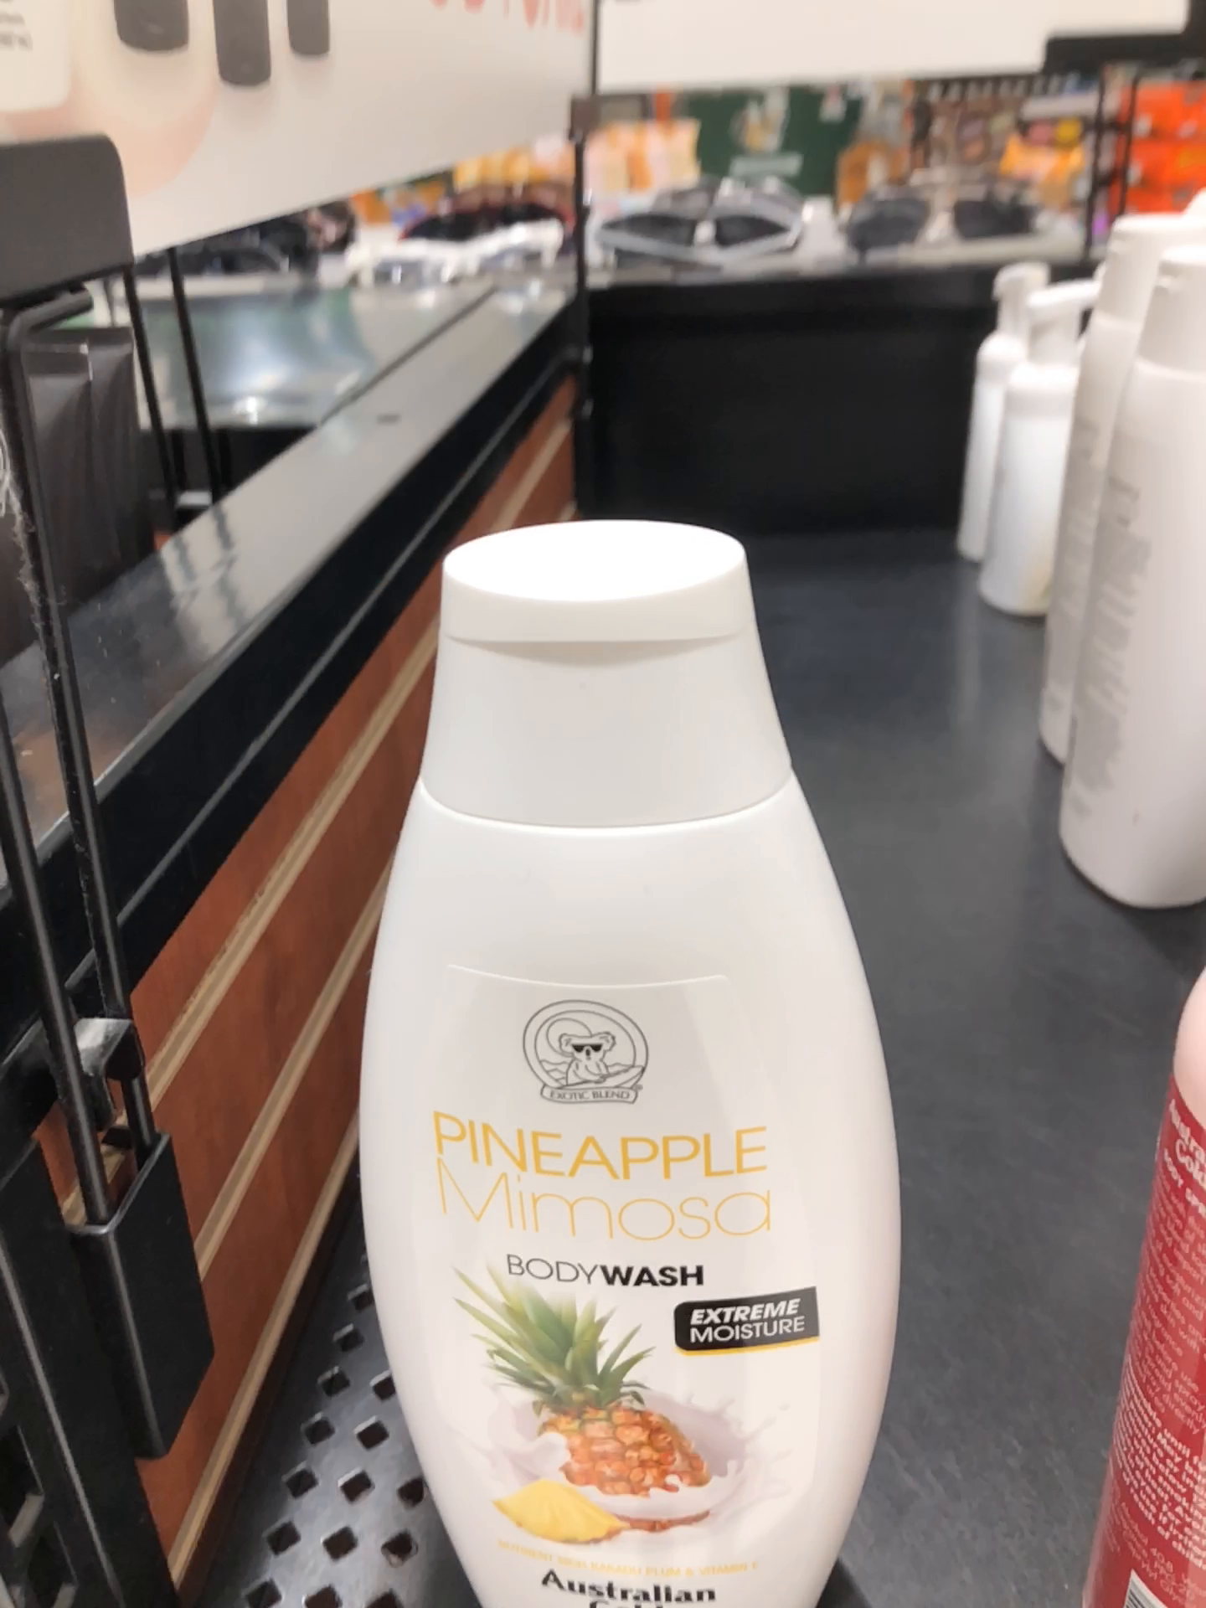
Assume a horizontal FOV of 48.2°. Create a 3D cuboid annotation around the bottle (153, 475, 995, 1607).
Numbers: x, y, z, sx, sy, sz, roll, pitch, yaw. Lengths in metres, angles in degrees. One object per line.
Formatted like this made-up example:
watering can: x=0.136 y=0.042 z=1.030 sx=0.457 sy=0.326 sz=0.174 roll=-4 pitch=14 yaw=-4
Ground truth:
bottle: x=0.004 y=0.058 z=0.233 sx=0.100 sy=0.214 sz=0.060 roll=1 pitch=28 yaw=8
